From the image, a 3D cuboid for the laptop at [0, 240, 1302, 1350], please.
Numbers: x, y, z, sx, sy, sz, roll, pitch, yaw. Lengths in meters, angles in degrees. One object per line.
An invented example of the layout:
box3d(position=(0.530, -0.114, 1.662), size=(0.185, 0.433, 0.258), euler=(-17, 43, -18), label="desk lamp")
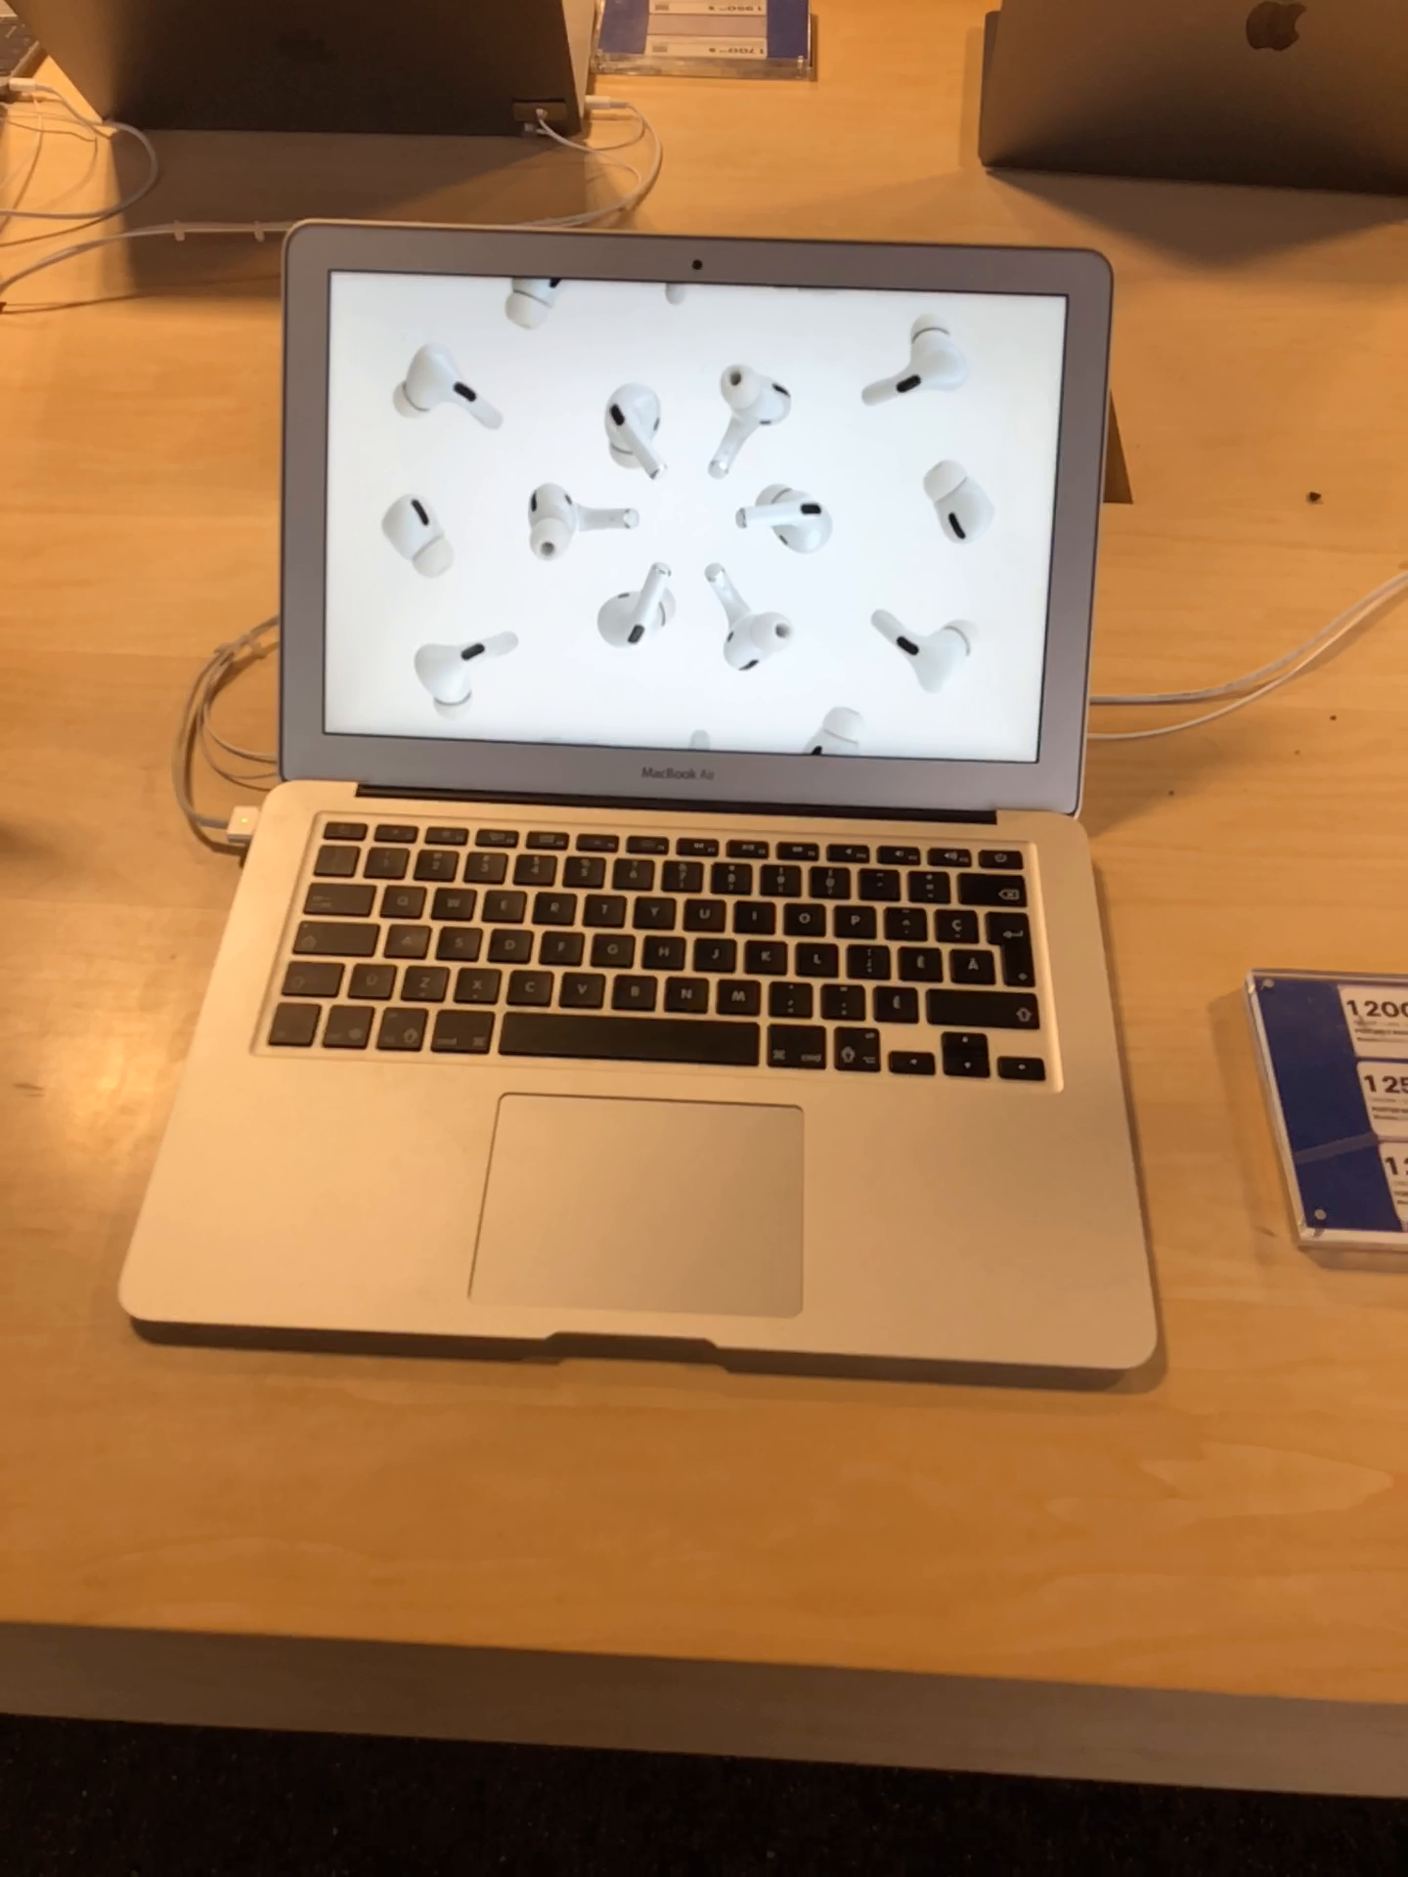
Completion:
box3d(position=(-0.012, -0.072, 0.527), size=(0.311, 0.151, 0.372), euler=(2, 50, 1), label="laptop")
